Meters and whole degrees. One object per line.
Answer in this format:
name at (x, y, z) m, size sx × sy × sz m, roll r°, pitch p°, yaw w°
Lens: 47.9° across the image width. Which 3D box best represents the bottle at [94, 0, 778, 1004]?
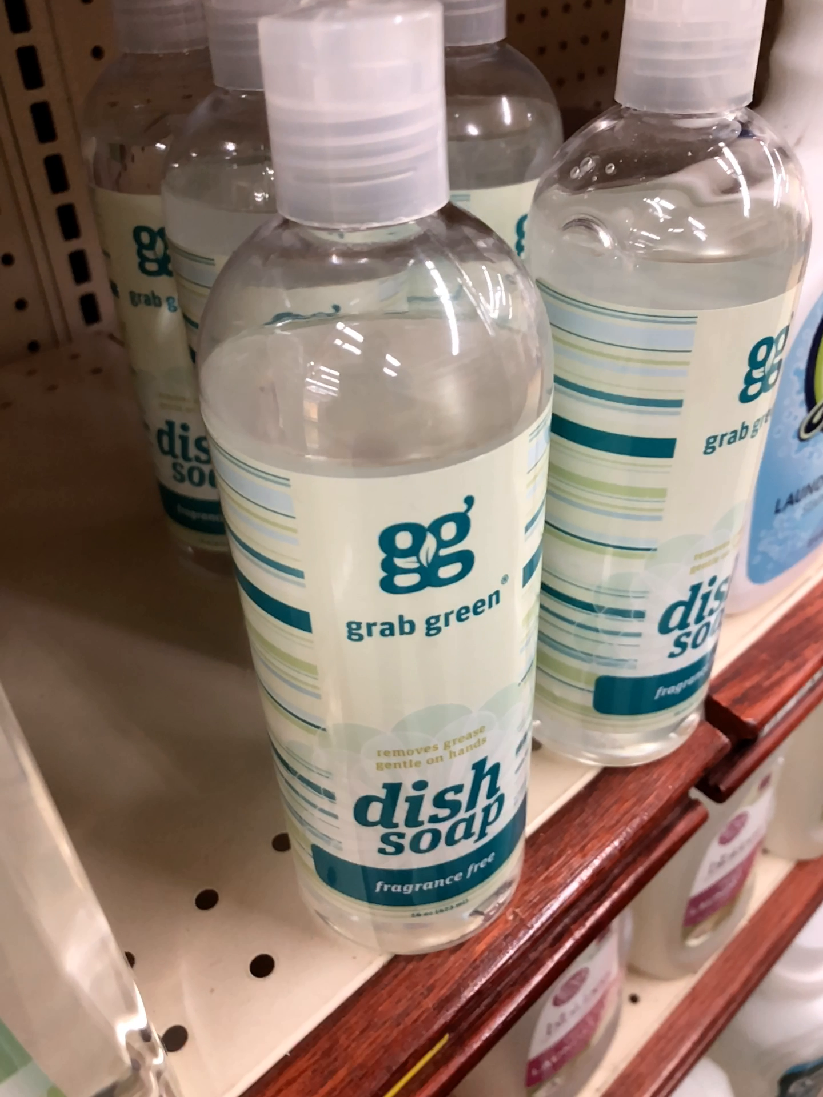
bottle at (0.000, 0.001, 0.182) m, size 0.070 × 0.200 × 0.060 m, roll -15°, pitch 41°, yaw -17°
